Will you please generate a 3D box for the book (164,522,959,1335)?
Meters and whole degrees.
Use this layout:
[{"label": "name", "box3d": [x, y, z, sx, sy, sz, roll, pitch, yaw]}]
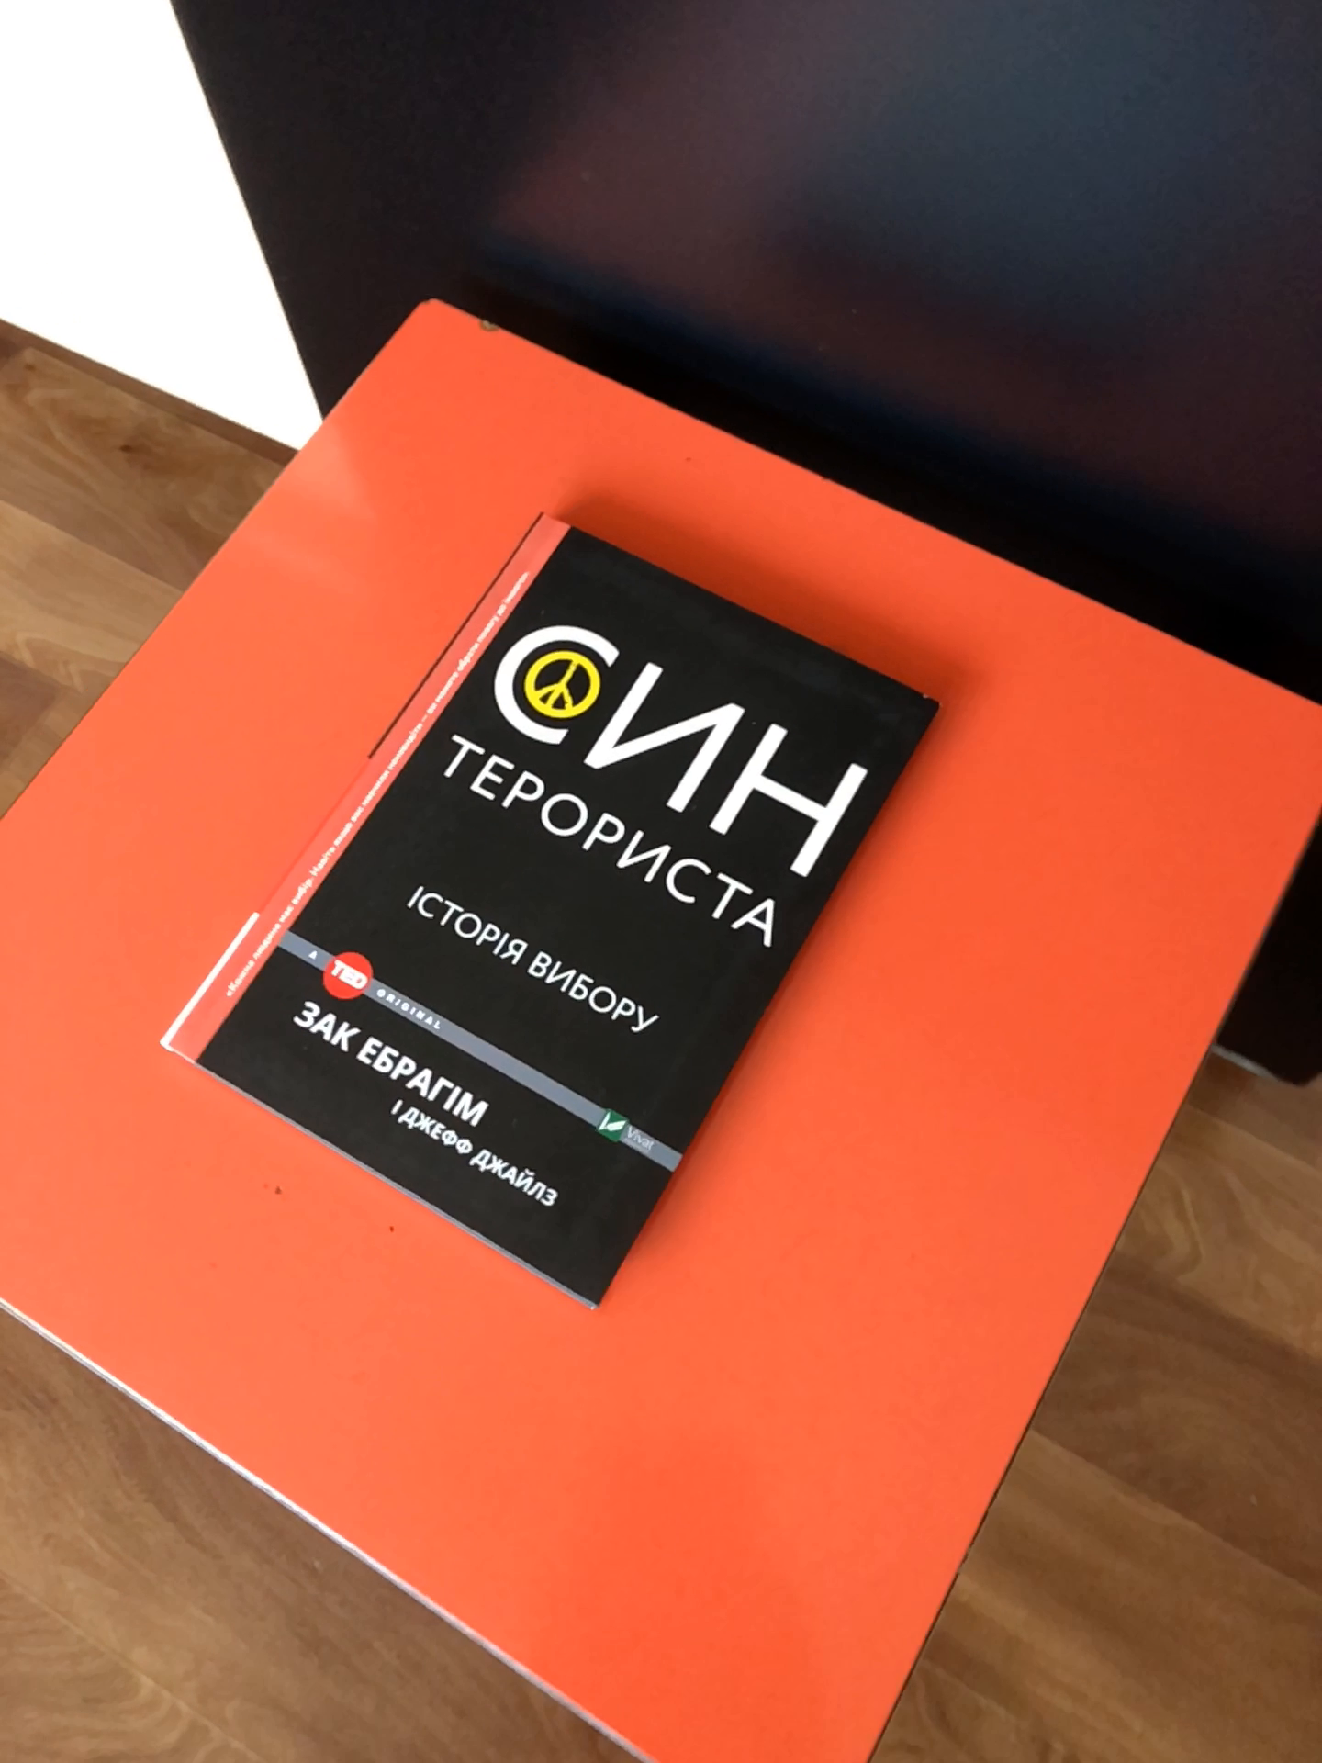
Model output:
[{"label": "book", "box3d": [-0.024, 0.003, 0.417, 0.140, 0.016, 0.198, 29, 72, 13]}]
